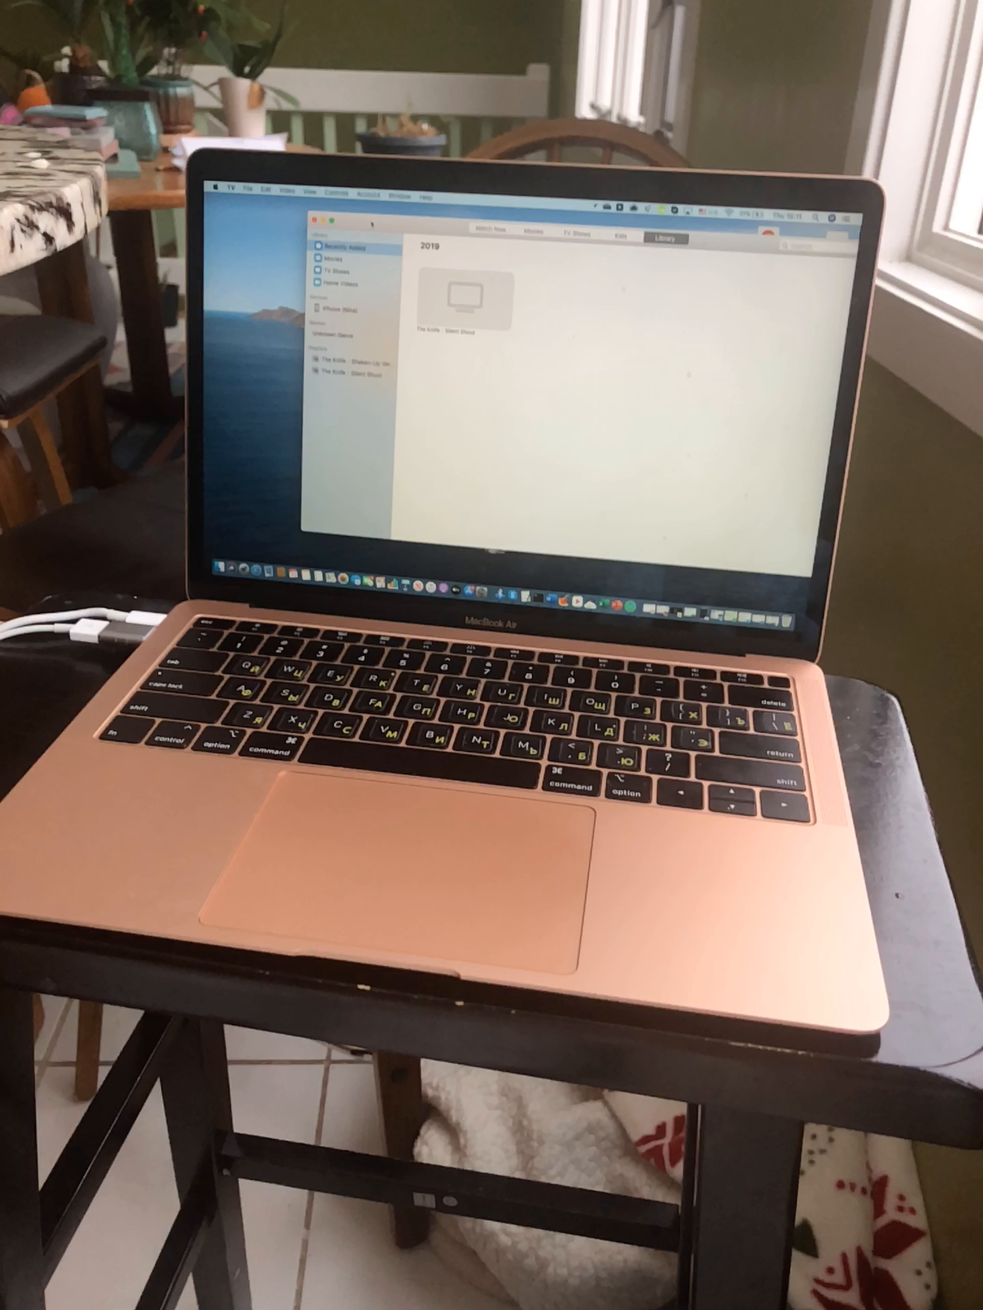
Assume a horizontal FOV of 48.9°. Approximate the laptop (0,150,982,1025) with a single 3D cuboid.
[{"bbox_3d":[-0.009,-0.059,0.398,0.297,0.196,0.265,6,30,7],"label":"laptop"}]
